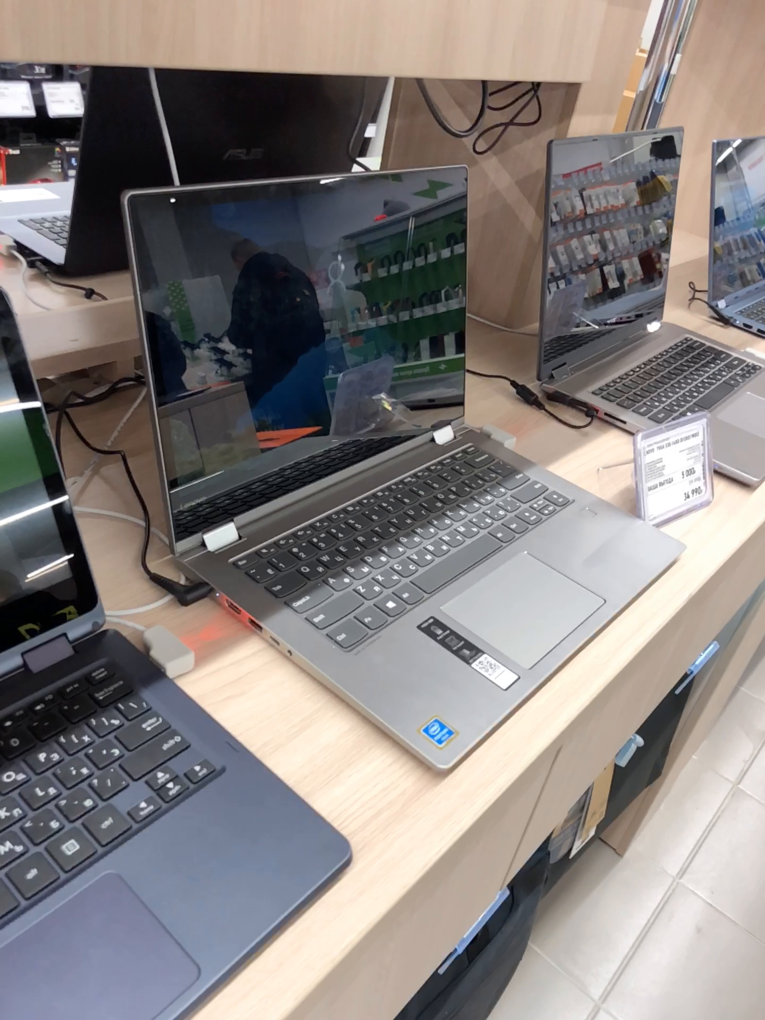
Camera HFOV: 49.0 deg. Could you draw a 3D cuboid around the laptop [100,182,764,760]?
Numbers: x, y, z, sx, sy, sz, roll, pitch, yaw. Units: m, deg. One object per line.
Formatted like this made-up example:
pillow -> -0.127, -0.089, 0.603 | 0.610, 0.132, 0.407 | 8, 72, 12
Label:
laptop -> 0.039, -0.069, 0.559 | 0.287, 0.205, 0.312 | 30, 34, 26
